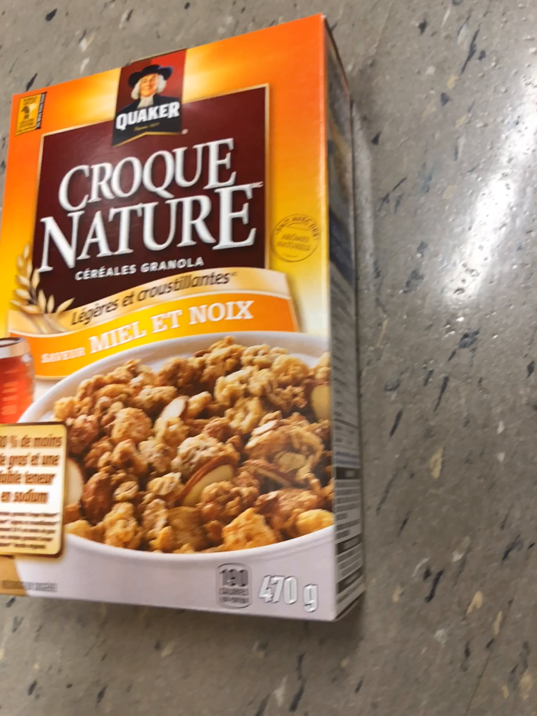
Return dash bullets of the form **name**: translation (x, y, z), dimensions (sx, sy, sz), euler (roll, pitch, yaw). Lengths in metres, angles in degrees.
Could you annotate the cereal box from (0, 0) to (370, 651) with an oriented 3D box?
- **cereal box**: translation (-0.044, -0.014, 0.267), dimensions (0.160, 0.050, 0.240), euler (-4, 79, 19)
